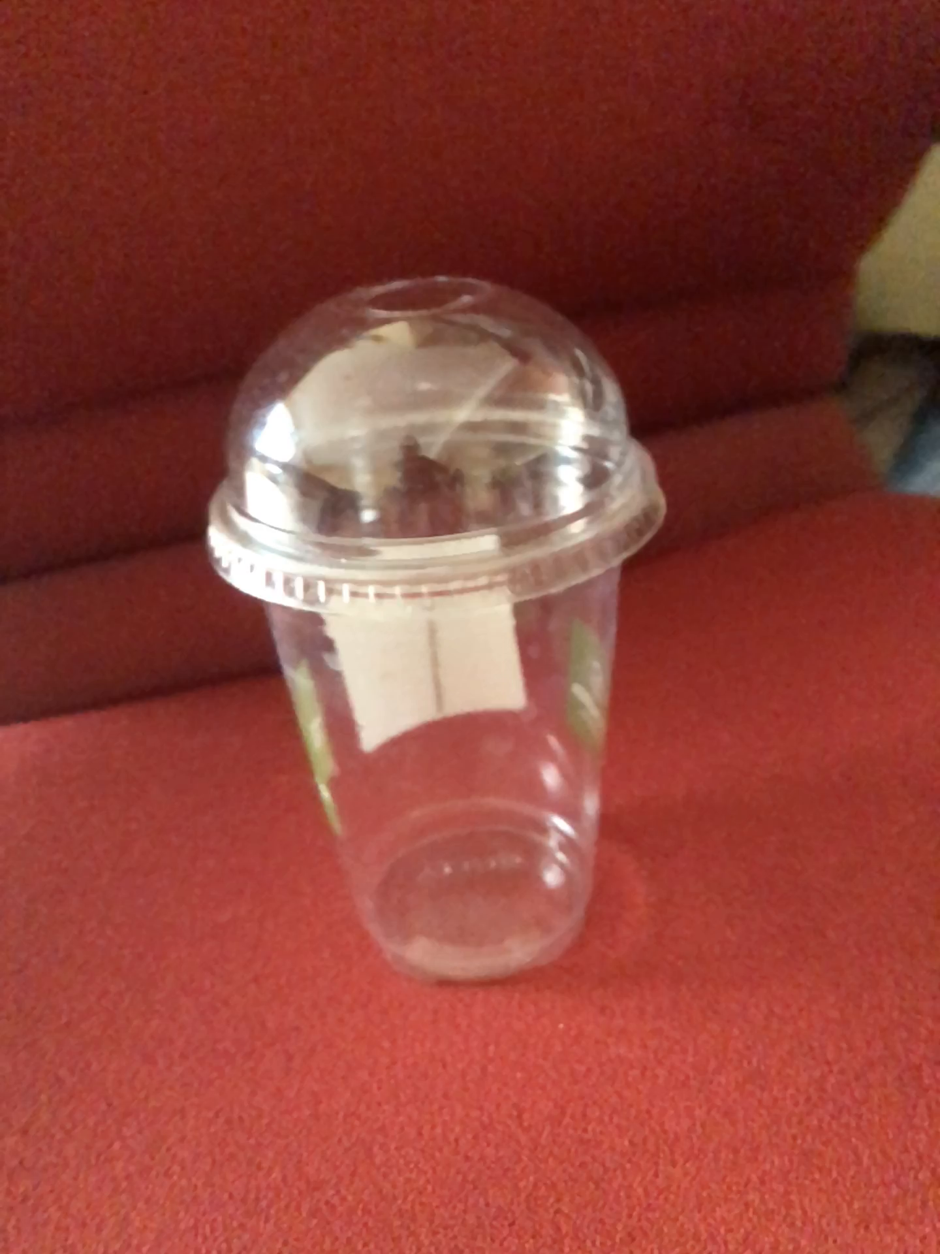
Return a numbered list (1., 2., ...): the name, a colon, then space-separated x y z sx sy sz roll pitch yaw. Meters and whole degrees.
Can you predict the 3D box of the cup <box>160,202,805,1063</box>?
1. cup: 0.002 -0.004 0.239 0.100 0.150 0.090 -14 29 -13
